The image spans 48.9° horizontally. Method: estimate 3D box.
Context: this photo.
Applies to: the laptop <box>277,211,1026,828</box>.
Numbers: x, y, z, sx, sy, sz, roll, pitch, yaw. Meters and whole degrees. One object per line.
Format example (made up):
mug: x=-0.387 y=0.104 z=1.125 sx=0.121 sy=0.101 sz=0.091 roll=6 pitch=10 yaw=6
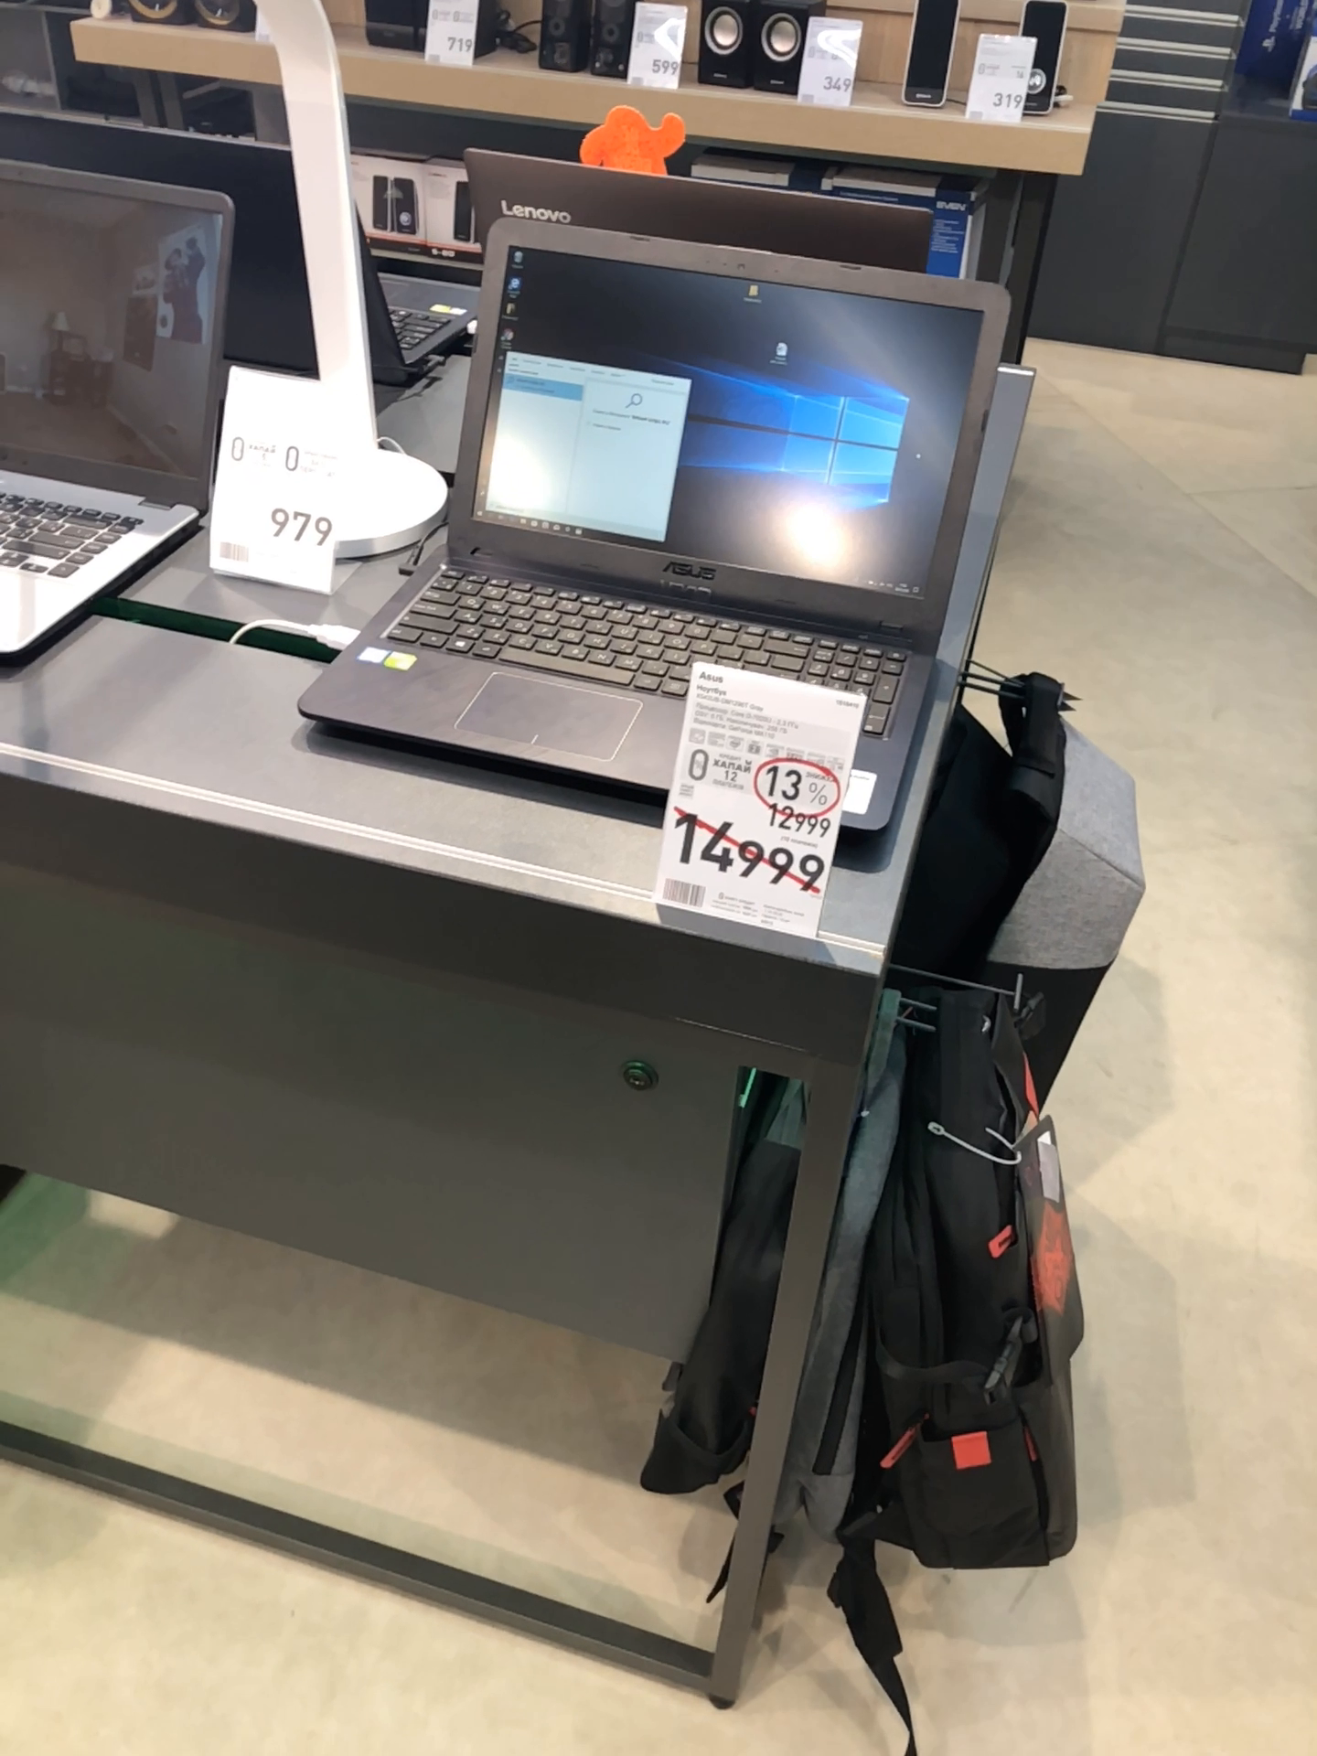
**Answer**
laptop: x=0.016 y=-0.264 z=0.966 sx=0.380 sy=0.209 sz=0.372 roll=12 pitch=40 yaw=11
